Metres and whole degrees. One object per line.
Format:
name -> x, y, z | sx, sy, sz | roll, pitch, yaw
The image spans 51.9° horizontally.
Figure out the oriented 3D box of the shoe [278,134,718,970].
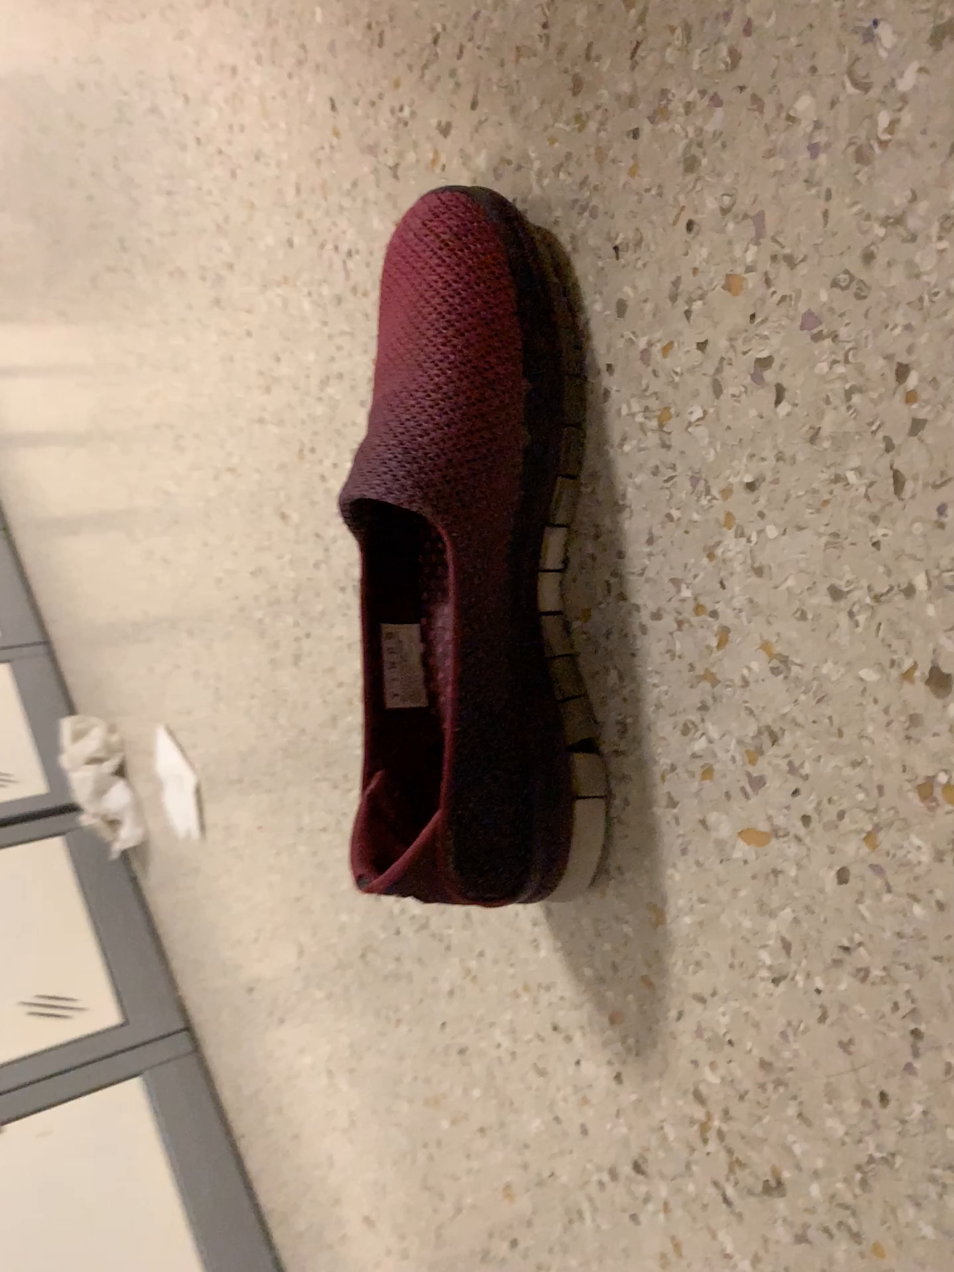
shoe -> 0.006, -0.026, 0.330 | 0.092, 0.091, 0.229 | 3, 100, 59
